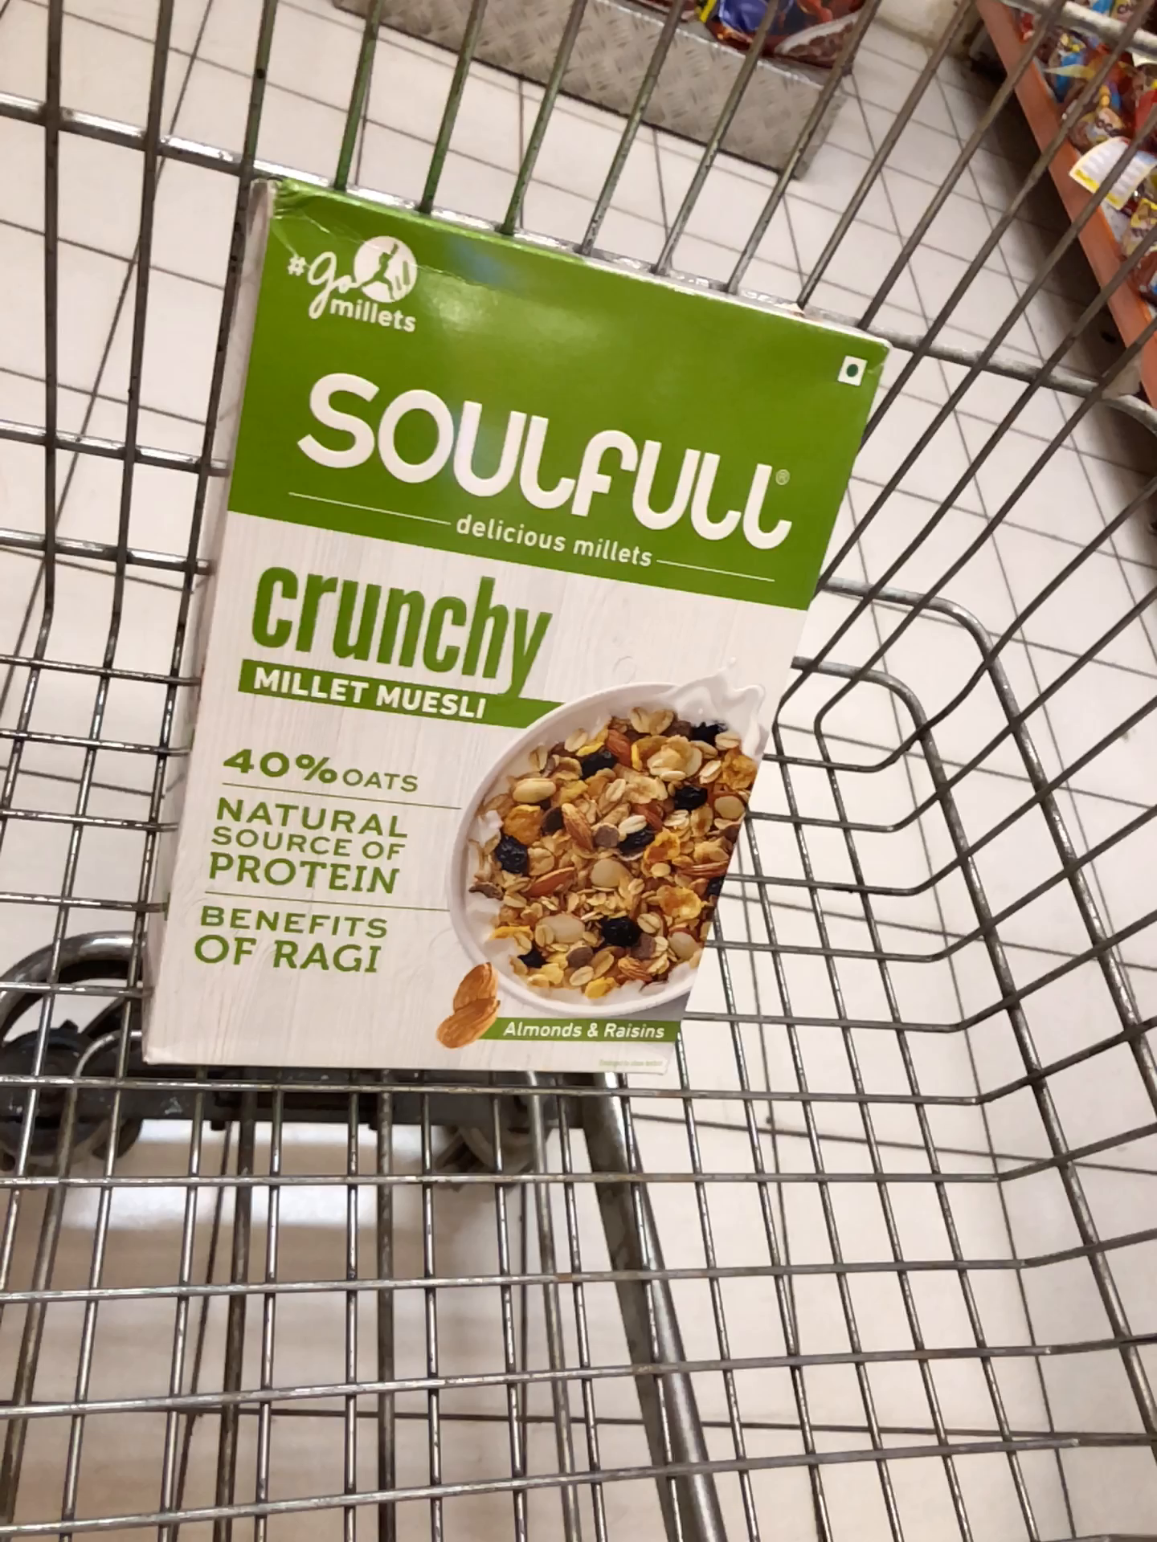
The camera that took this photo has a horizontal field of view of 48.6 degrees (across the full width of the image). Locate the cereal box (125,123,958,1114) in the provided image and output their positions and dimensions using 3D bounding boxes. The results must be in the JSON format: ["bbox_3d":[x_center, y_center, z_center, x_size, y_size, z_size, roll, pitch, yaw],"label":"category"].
[{"bbox_3d":[-0.022,-0.026,0.359,0.170,0.239,0.070,7,20,-22],"label":"cereal box"}]
